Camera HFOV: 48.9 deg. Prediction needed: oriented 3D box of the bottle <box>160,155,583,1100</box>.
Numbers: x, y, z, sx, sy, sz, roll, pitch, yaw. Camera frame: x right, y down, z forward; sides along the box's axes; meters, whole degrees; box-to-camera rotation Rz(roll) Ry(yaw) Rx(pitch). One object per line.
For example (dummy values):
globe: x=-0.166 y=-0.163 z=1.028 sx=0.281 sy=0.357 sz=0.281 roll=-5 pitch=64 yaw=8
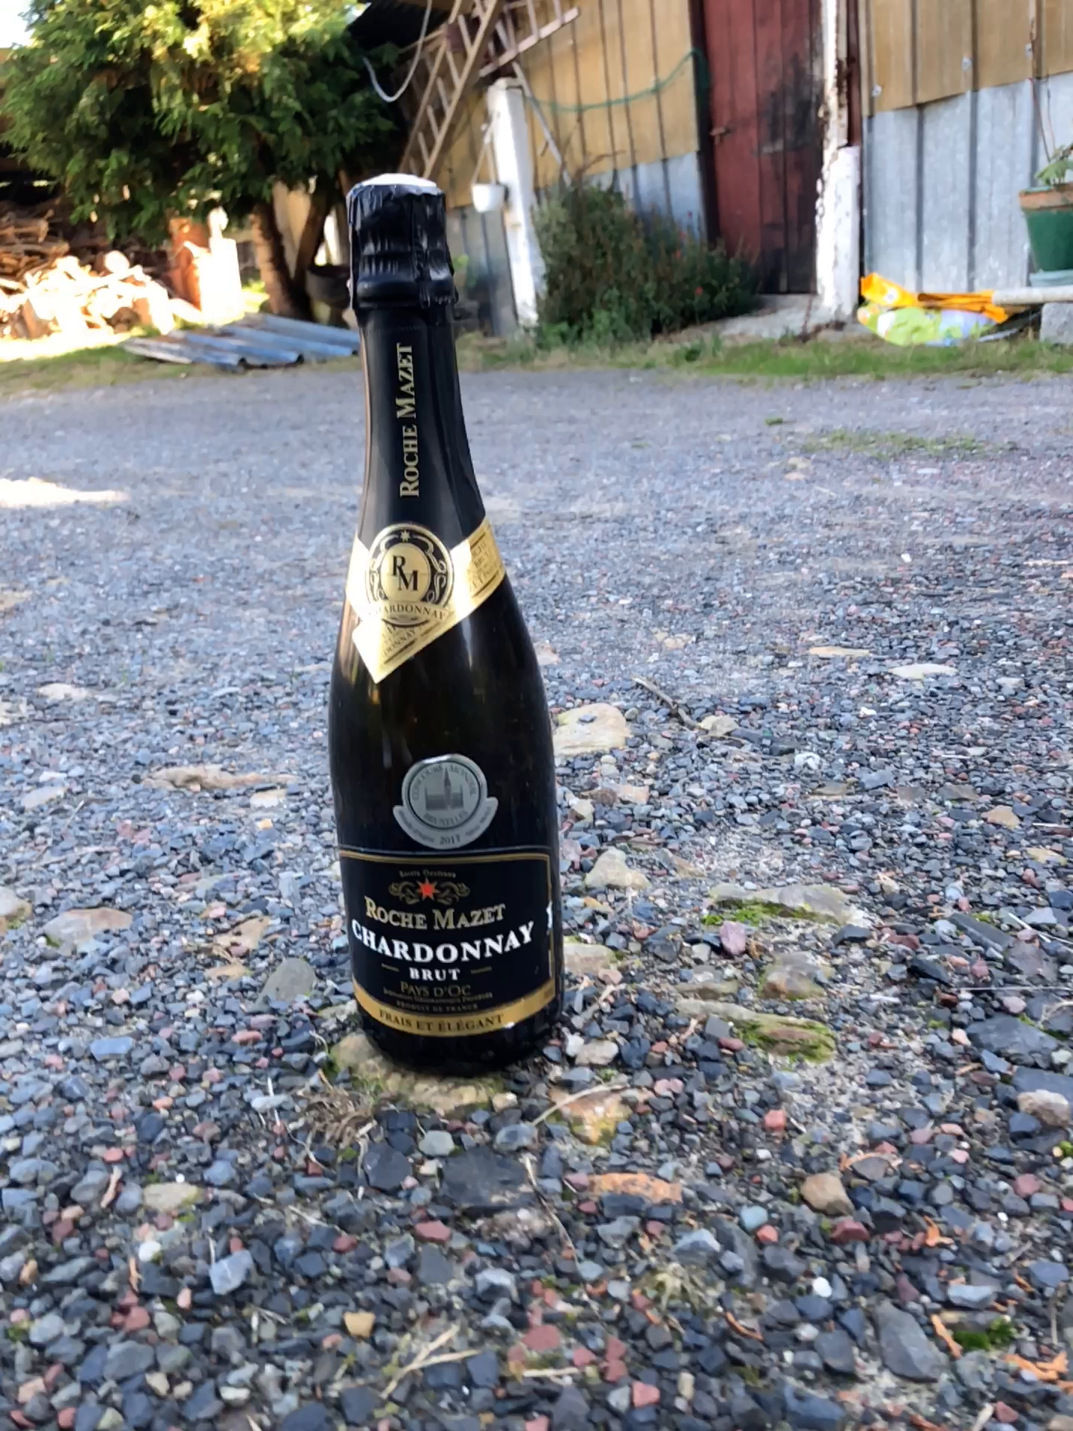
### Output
bottle: x=-0.042 y=-0.025 z=0.415 sx=0.100 sy=0.299 sz=0.101 roll=-2 pitch=19 yaw=1
